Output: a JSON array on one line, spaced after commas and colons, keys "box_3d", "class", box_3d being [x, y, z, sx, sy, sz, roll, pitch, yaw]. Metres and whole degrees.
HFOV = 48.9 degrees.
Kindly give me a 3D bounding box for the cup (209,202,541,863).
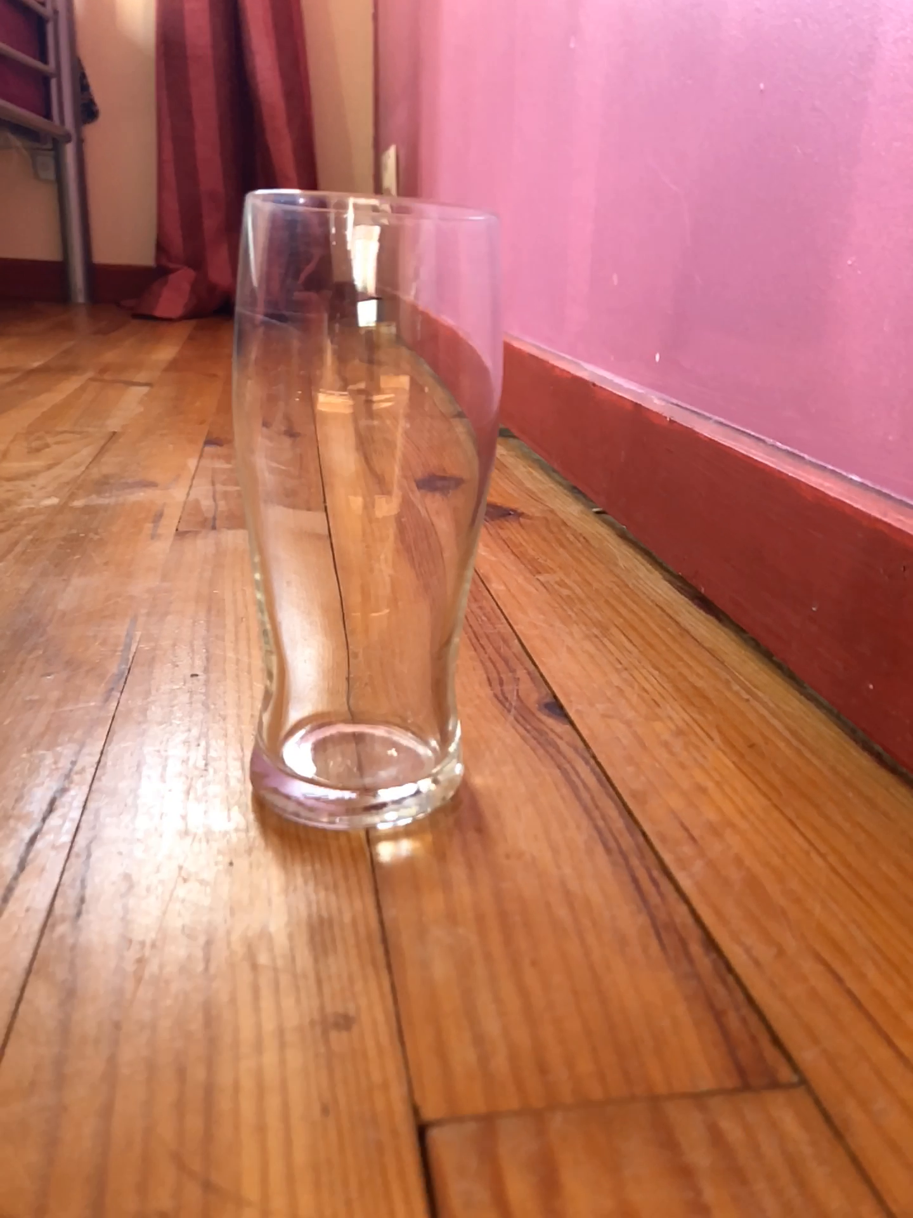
[{"box_3d": [-0.024, -0.021, 0.252, 0.060, 0.143, 0.064, 2, 17, -1], "class": "cup"}]
